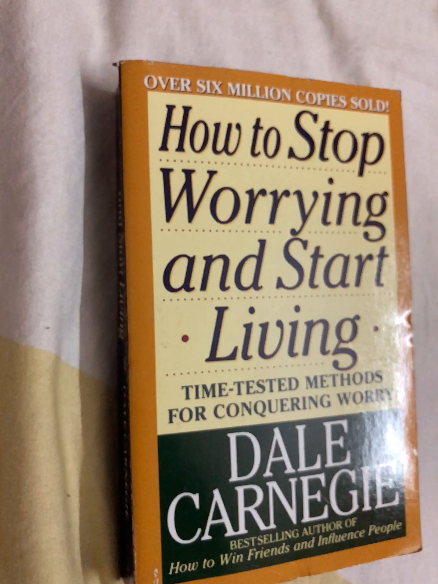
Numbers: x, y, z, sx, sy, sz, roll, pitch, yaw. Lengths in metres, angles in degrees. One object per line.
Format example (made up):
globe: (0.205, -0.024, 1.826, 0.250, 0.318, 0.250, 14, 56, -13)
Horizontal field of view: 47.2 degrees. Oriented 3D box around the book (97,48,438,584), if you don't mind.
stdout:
book: (0.017, 0.013, 0.187, 0.110, 0.050, 0.170, -2, 87, -21)
